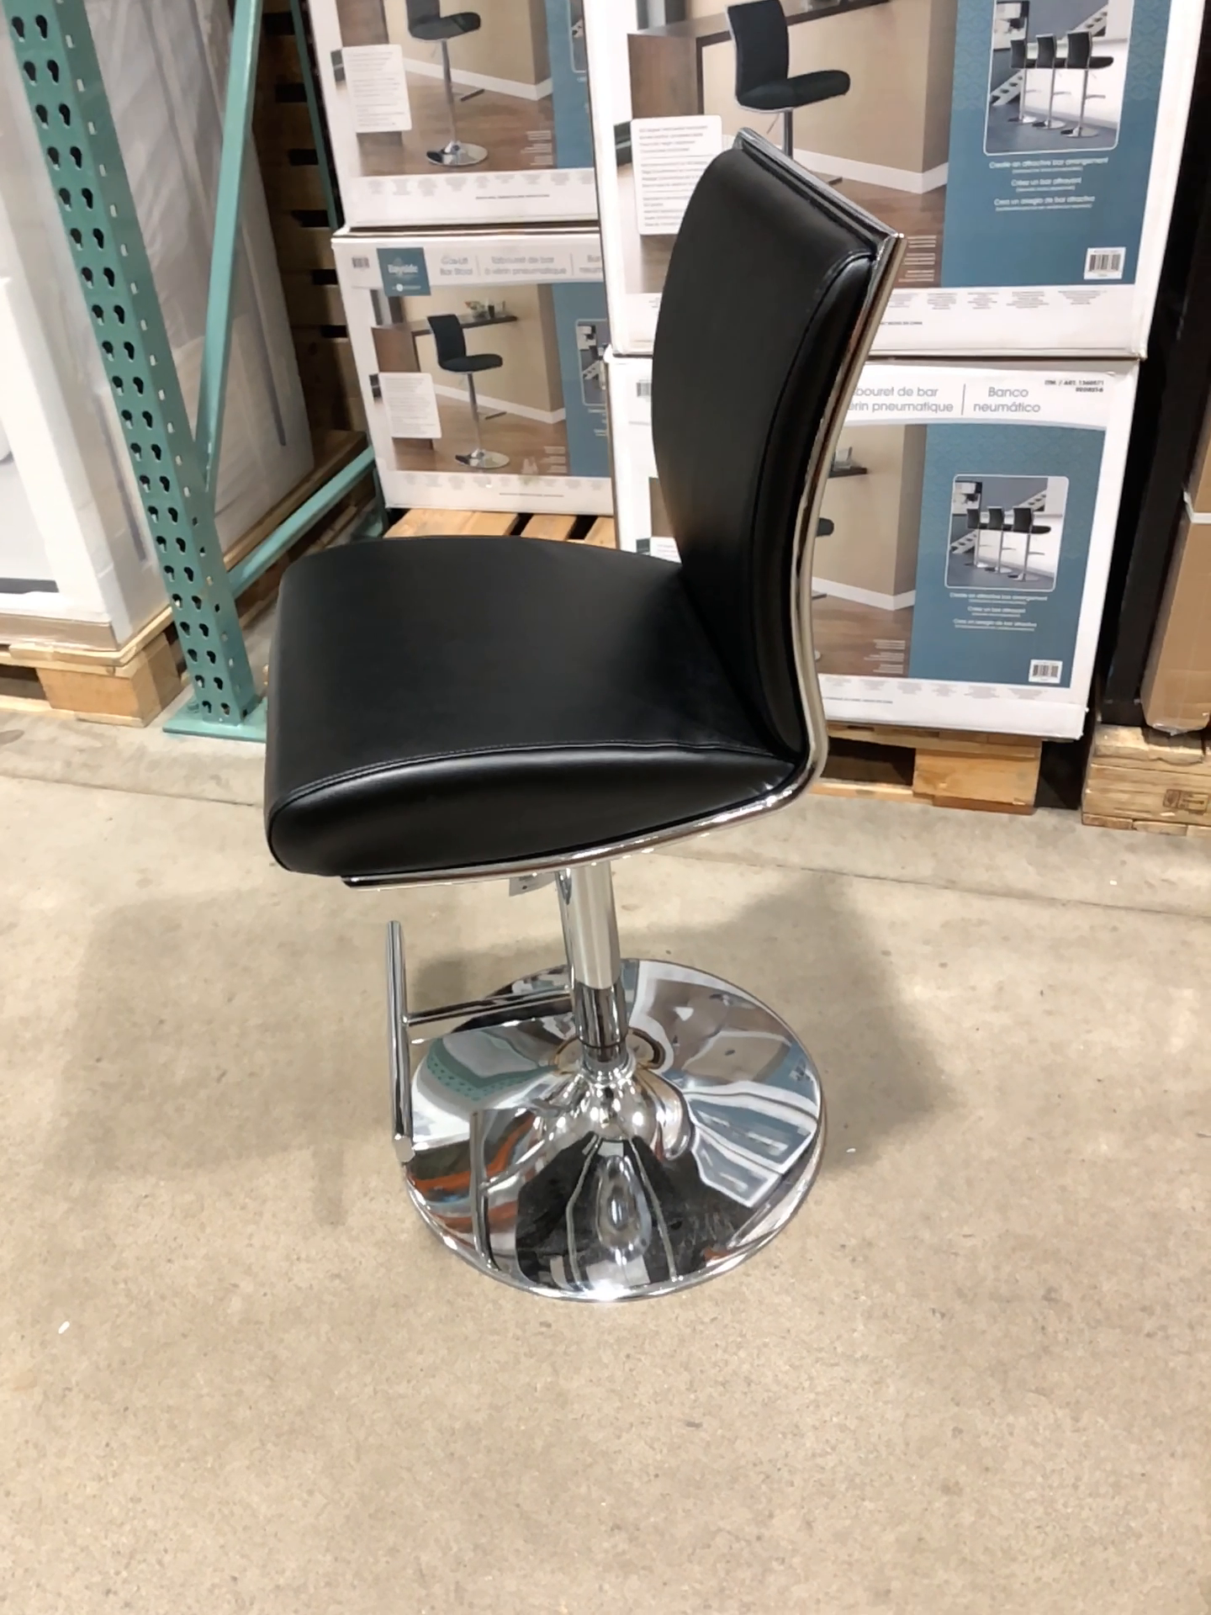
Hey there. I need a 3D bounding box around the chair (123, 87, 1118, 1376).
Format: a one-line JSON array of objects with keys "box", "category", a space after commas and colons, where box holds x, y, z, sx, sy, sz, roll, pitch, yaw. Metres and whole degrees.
[{"box": [-0.004, -0.050, 1.199, 0.540, 0.946, 0.532, -10, 37, -7], "category": "chair"}]
